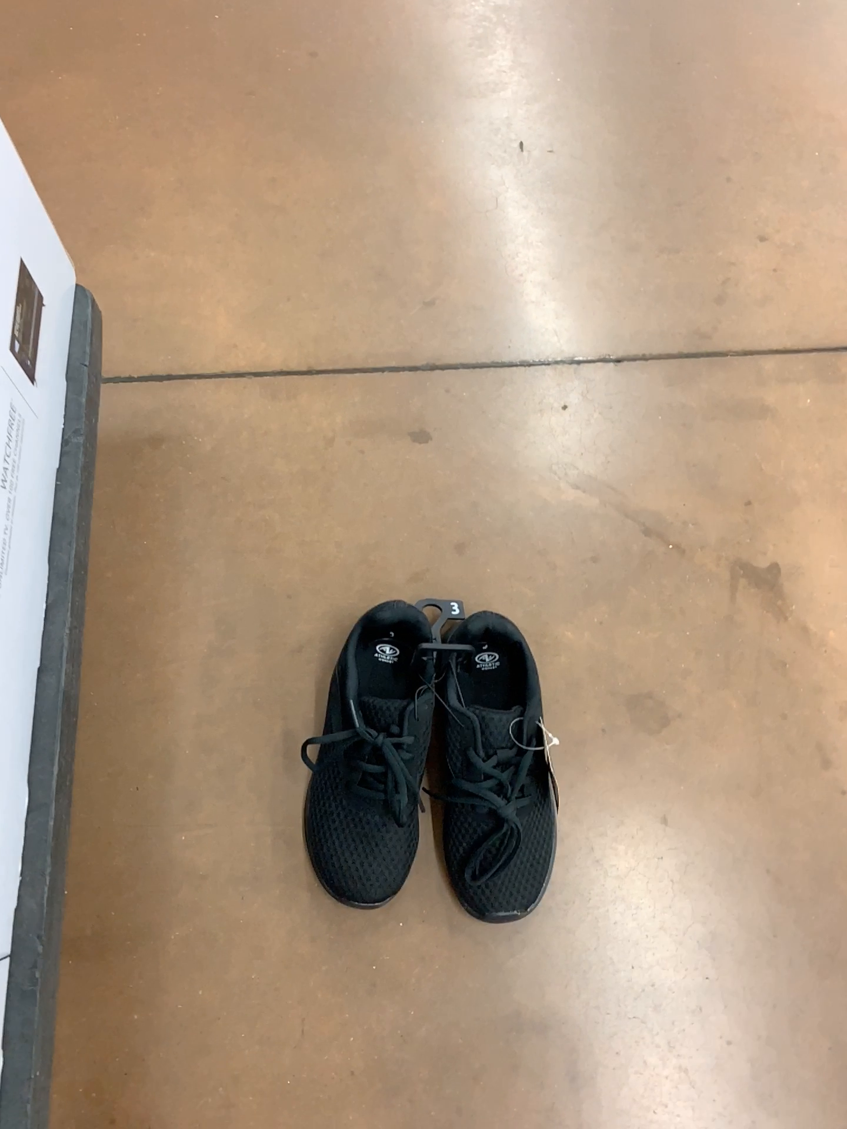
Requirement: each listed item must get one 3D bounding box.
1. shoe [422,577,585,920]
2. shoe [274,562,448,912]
[{"bbox_3d":[0.051,0.133,0.634,0.090,0.080,0.230,-3,68,-3],"label":"shoe"},{"bbox_3d":[-0.039,0.124,0.629,0.090,0.080,0.230,6,68,1],"label":"shoe"}]
